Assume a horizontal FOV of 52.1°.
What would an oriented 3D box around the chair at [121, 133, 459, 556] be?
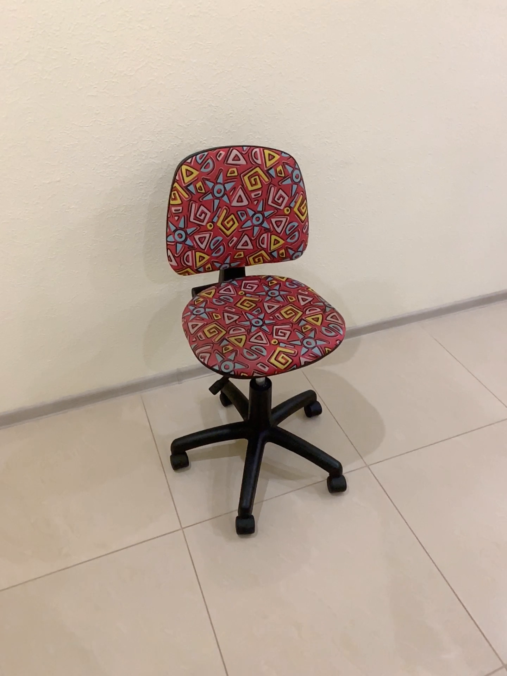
[{"bbox_3d":[0.034,0.014,1.389,0.550,0.884,0.543,-13,41,-18],"label":"chair"}]
